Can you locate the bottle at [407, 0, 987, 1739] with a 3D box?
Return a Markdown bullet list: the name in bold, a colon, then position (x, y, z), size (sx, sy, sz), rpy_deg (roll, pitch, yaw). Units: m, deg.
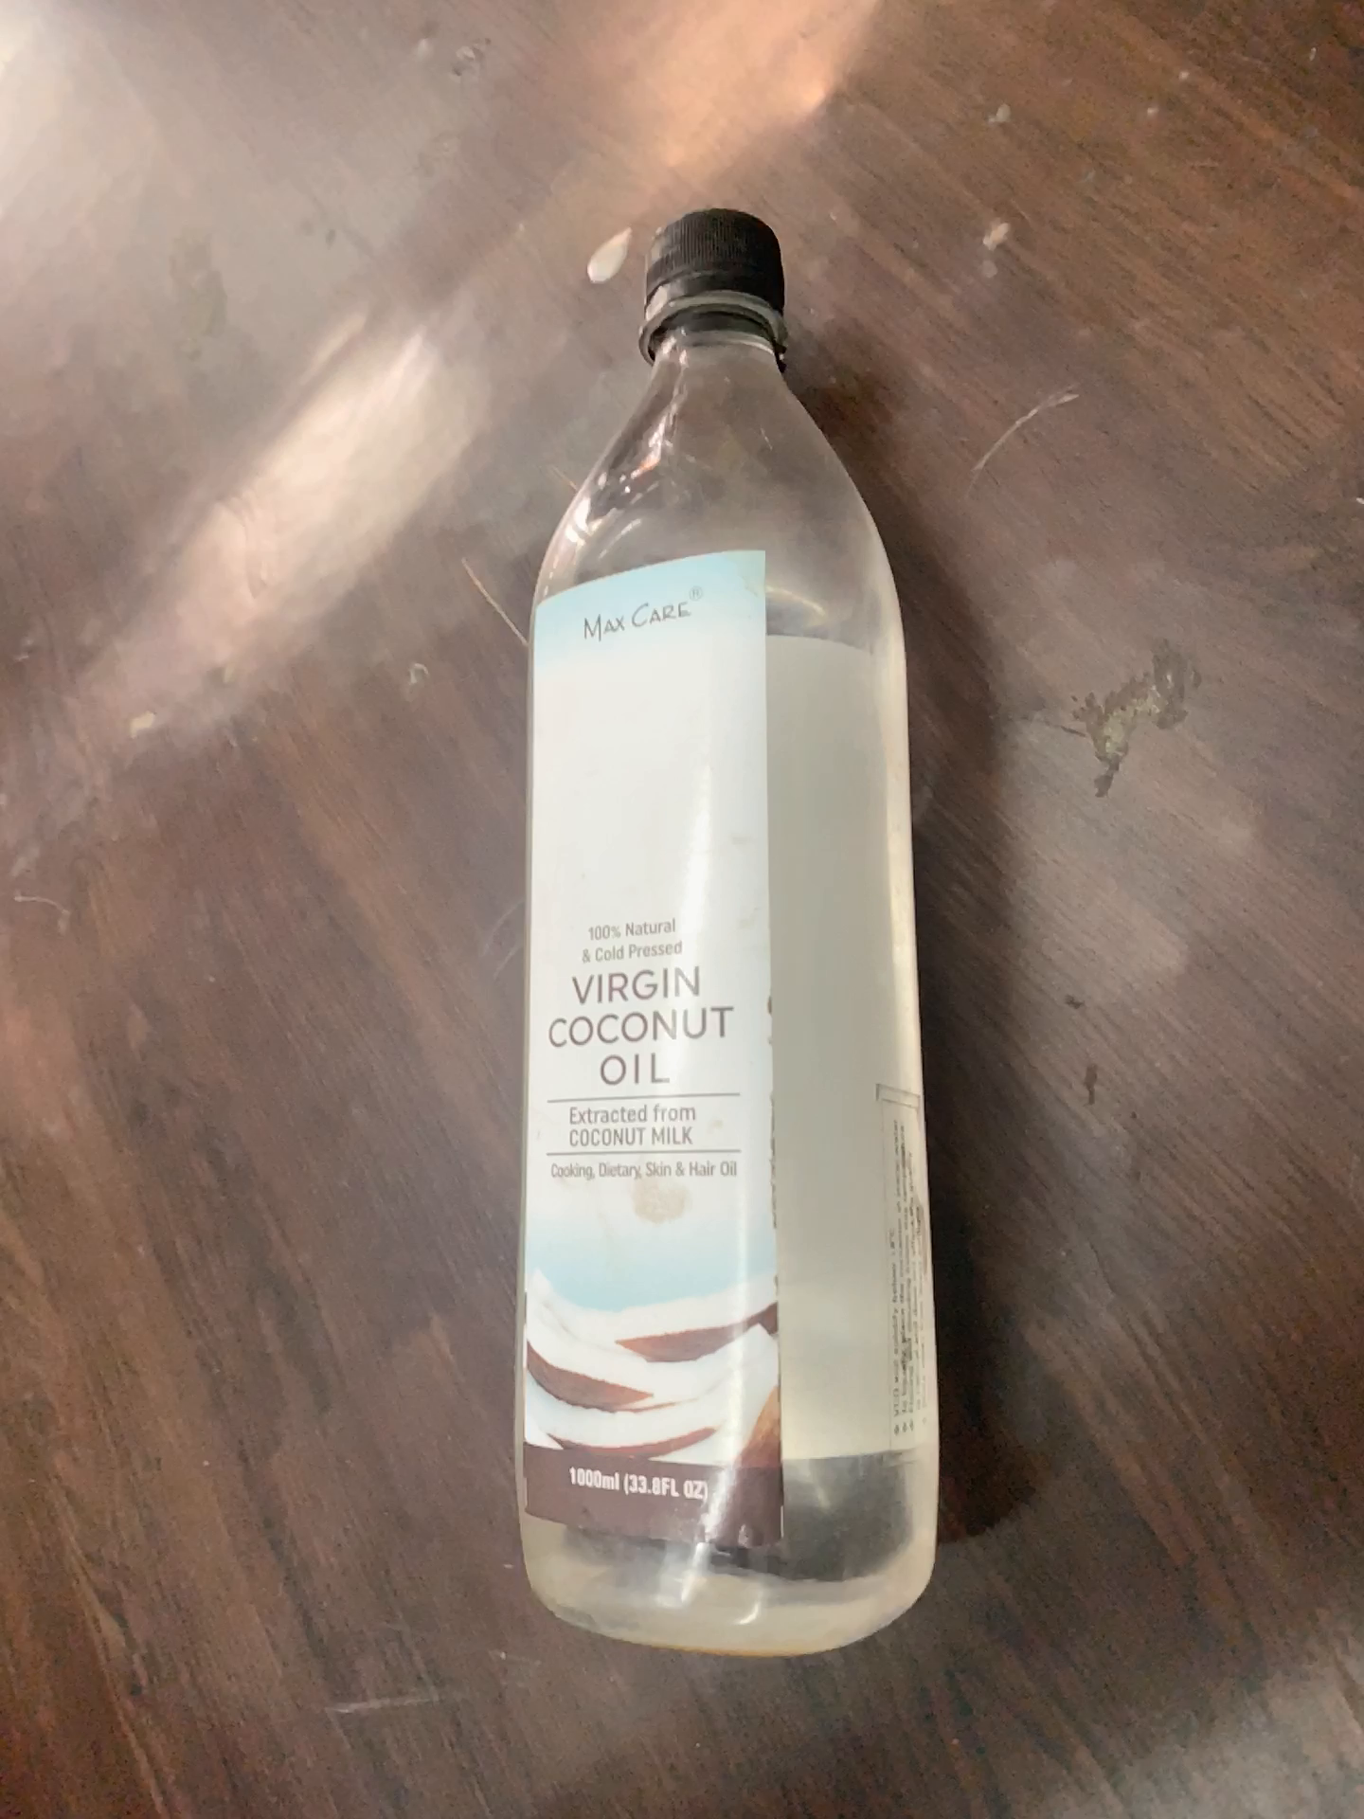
- **bottle**: position (0.003, -0.015, 0.276), size (0.080, 0.070, 0.290), rpy_deg (-6, 78, 28)
